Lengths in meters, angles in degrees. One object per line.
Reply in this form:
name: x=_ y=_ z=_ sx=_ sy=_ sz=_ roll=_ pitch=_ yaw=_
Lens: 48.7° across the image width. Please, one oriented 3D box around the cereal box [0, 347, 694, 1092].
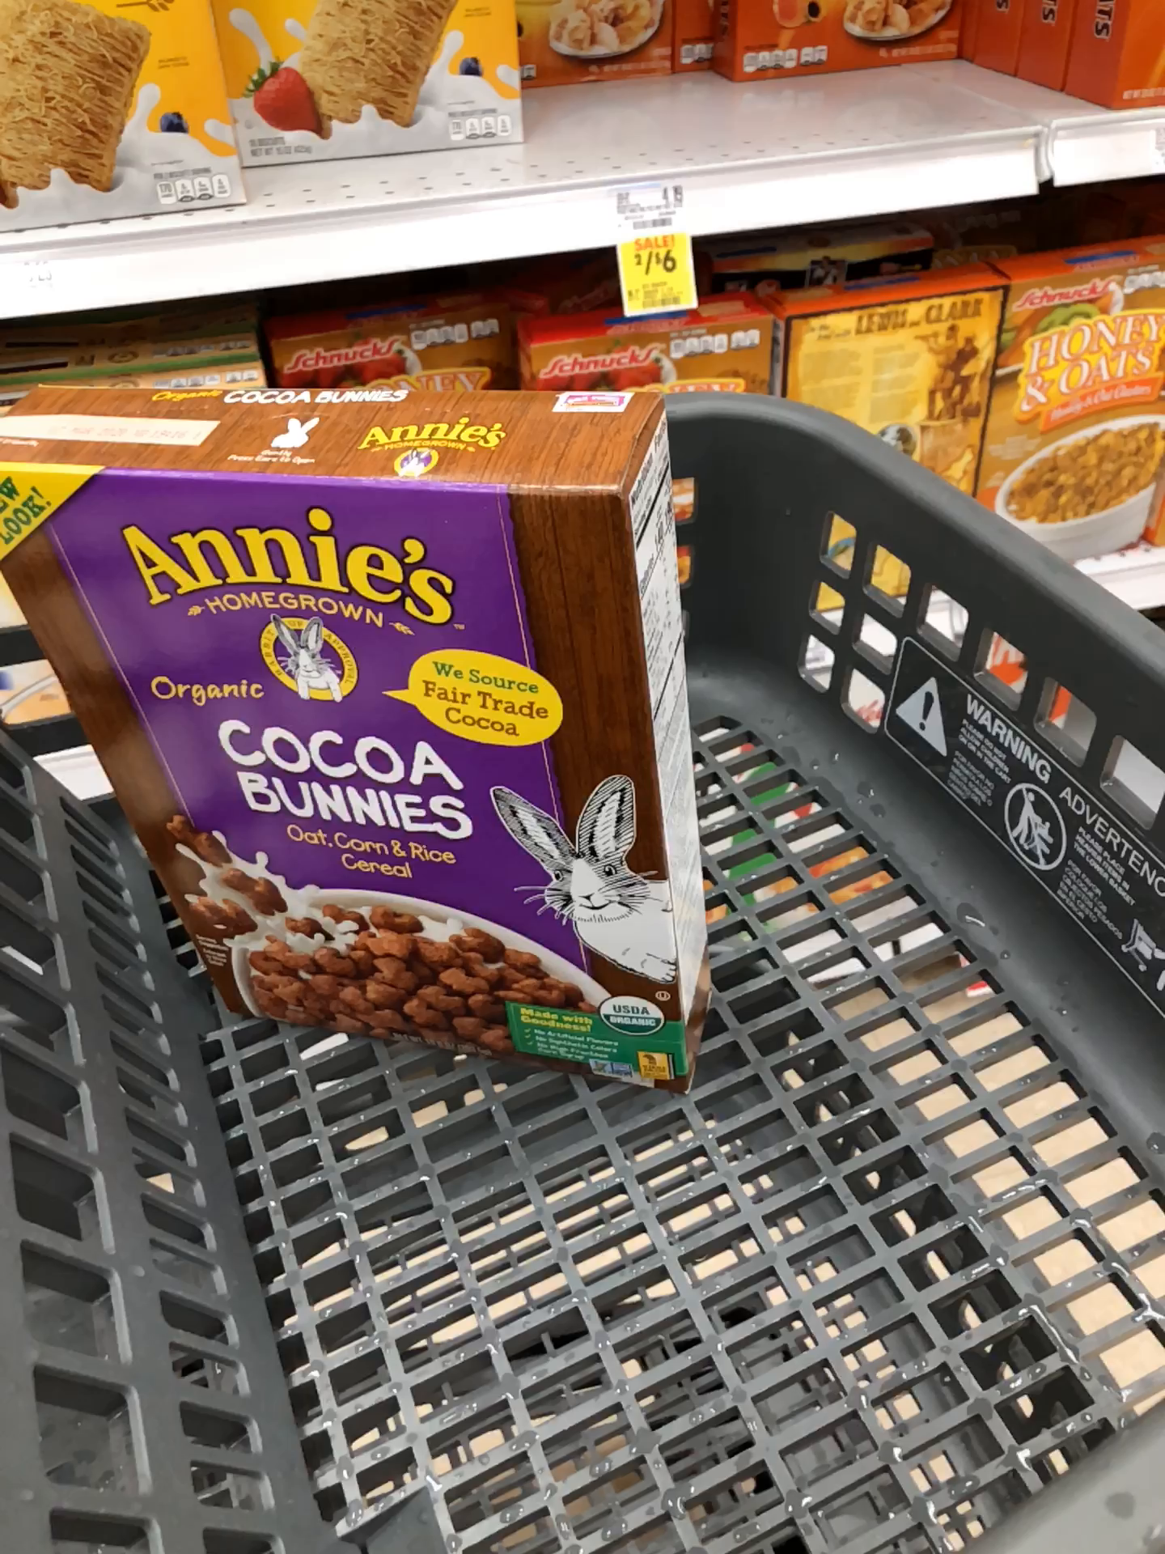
cereal box: x=-0.072 y=-0.008 z=0.407 sx=0.200 sy=0.239 sz=0.050 roll=6 pitch=43 yaw=14
